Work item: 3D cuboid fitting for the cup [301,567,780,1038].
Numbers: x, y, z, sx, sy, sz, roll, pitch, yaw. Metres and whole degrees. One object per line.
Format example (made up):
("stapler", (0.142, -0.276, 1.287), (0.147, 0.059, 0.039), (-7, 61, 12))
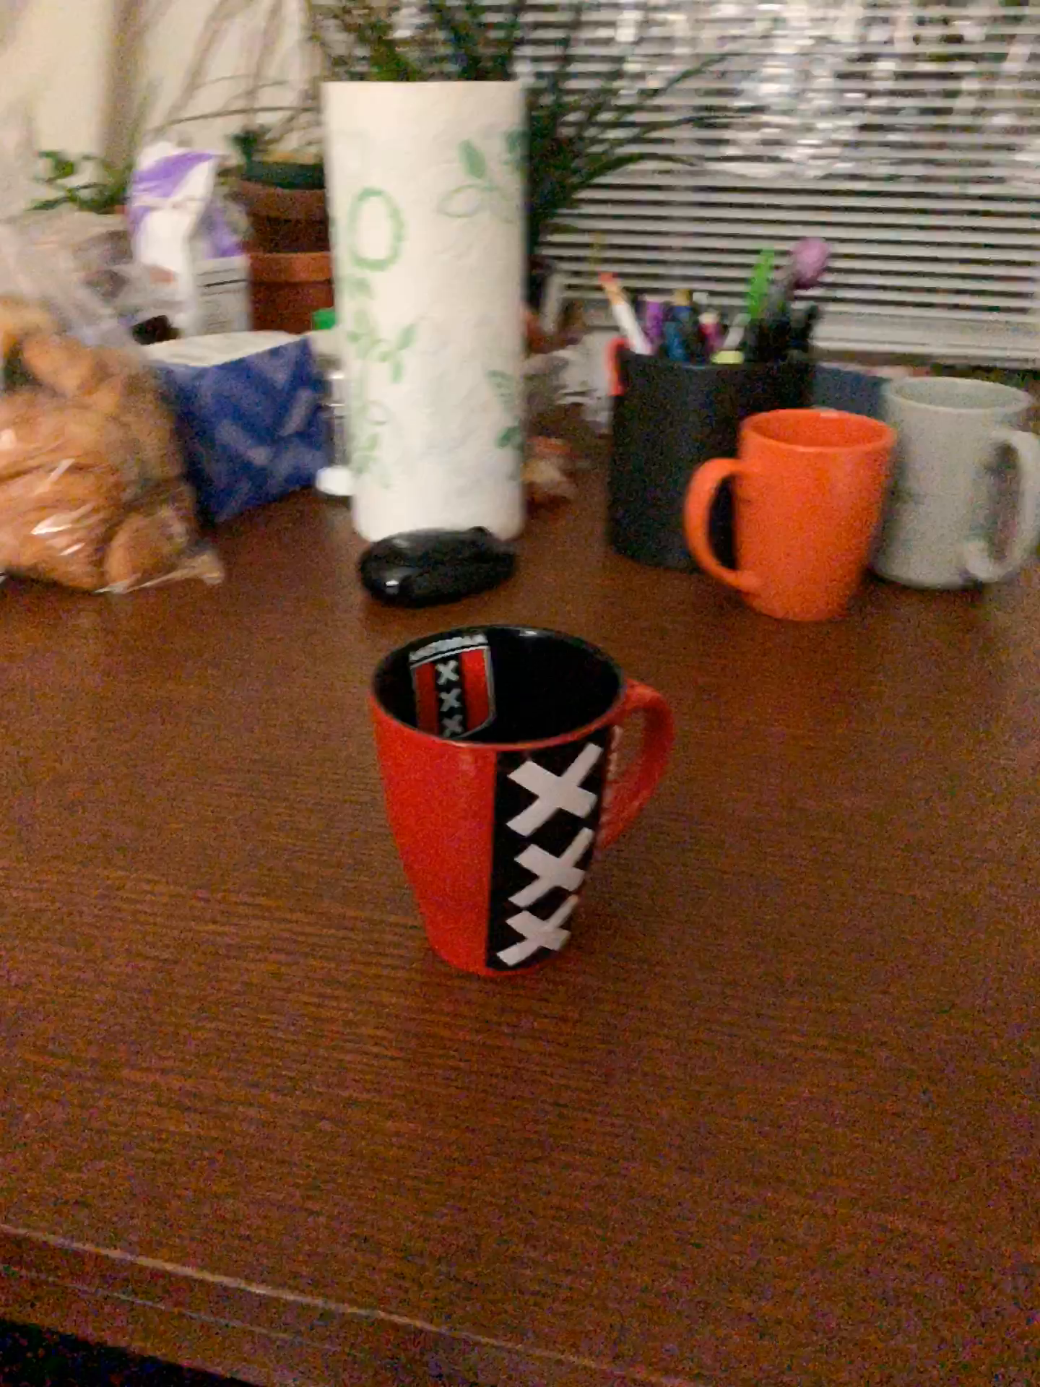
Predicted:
("cup", (0.006, 0.029, 0.377), (0.130, 0.099, 0.091), (-17, 33, -28))
